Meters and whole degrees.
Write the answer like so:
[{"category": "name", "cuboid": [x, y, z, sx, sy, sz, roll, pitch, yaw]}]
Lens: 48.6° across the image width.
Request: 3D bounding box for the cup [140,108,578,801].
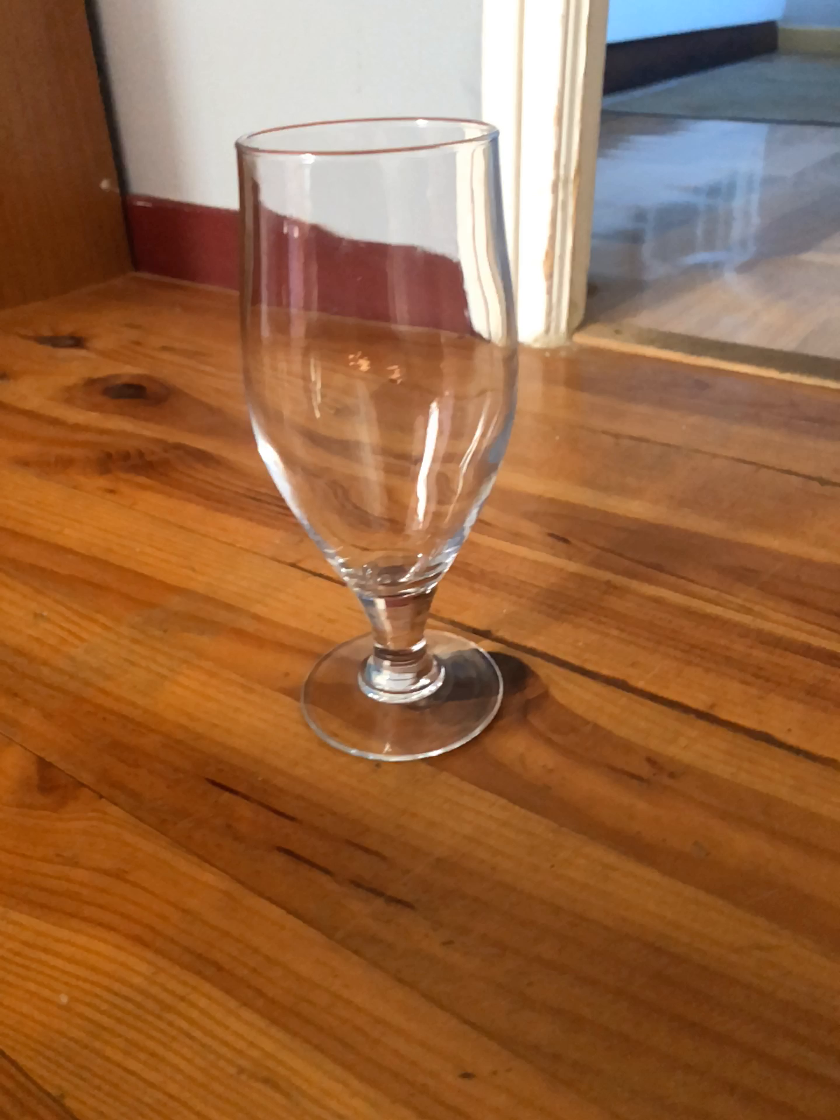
[{"category": "cup", "cuboid": [-0.012, -0.033, 0.289, 0.081, 0.183, 0.083, -1, 31, 0]}]
